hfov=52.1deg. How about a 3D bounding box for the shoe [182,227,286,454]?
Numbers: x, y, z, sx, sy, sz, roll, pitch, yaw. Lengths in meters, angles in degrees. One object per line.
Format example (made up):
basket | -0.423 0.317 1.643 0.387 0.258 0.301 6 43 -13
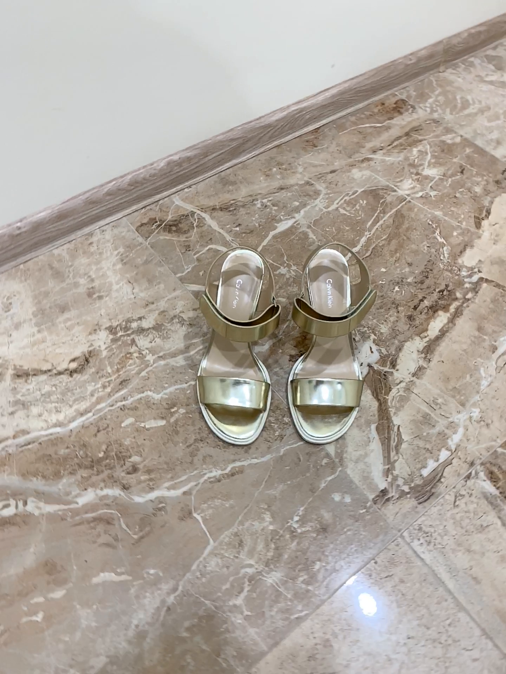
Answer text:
shoe | -0.018 0.002 0.589 0.095 0.130 0.221 2 55 -1

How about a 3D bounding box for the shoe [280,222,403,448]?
shoe | 0.088 -0.006 0.596 0.100 0.120 0.231 1 55 -1
